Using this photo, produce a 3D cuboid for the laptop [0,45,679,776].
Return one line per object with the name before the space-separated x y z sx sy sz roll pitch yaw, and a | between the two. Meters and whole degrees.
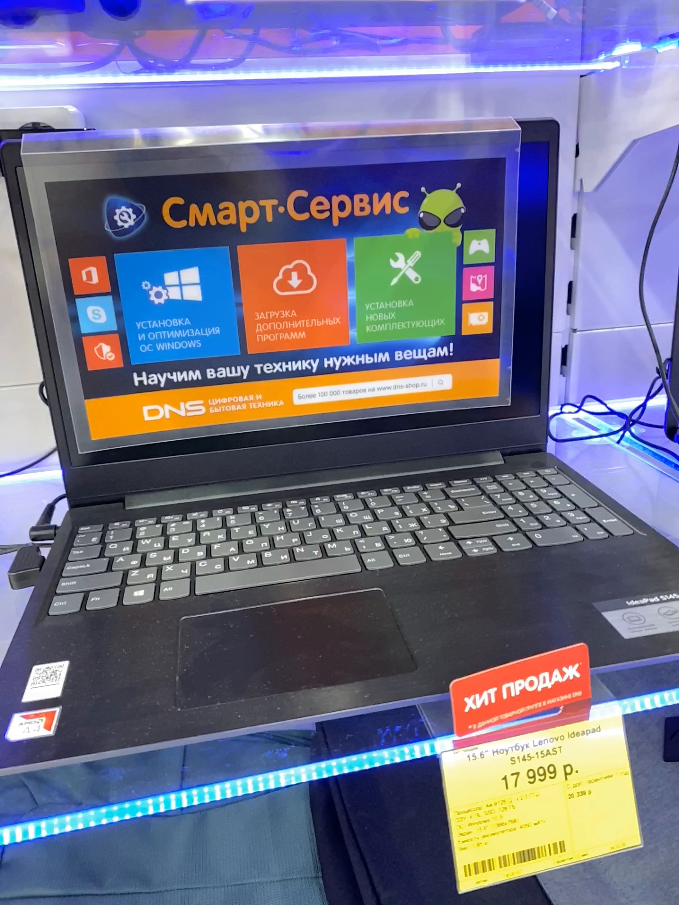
laptop | 0.003 -0.052 0.372 0.361 0.239 0.258 -6 20 -9
